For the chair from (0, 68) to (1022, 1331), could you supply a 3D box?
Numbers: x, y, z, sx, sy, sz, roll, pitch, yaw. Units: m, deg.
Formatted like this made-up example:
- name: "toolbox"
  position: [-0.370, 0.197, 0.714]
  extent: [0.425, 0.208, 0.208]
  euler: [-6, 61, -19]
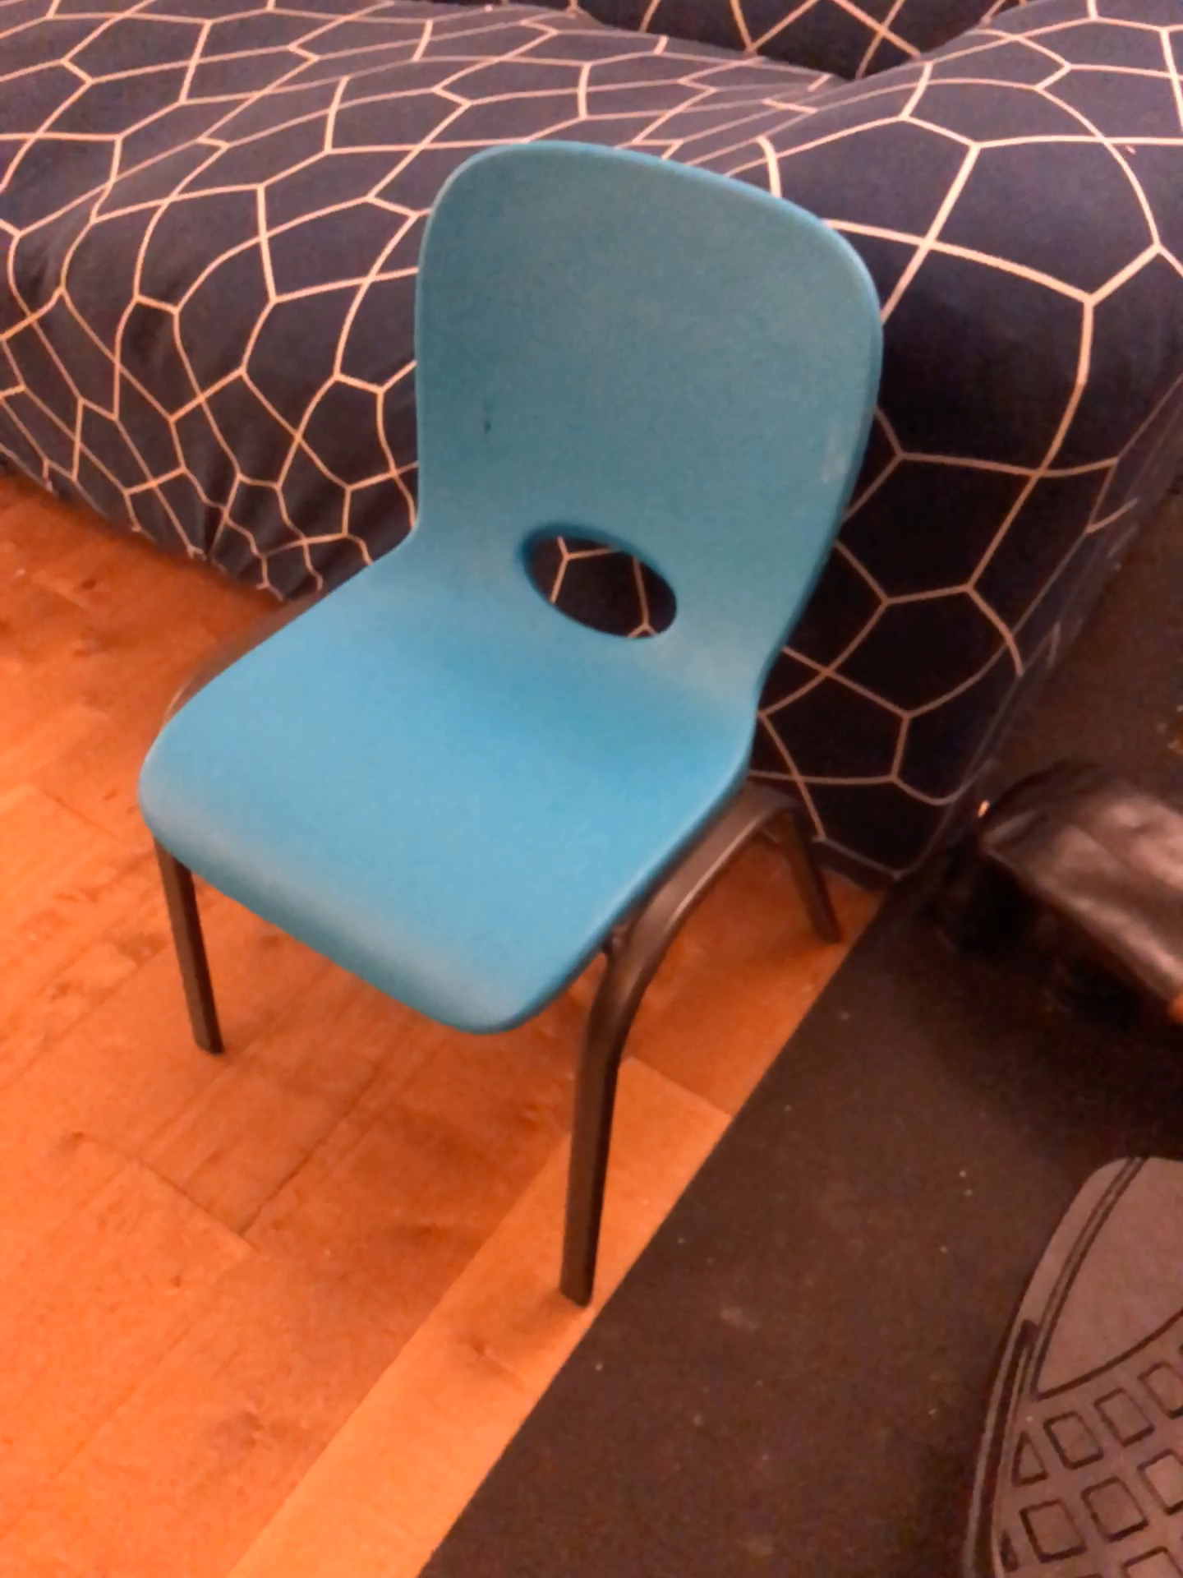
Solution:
- name: "chair"
  position: [-0.075, -0.057, 0.801]
  extent: [0.431, 0.527, 0.402]
  euler: [24, 51, 21]
